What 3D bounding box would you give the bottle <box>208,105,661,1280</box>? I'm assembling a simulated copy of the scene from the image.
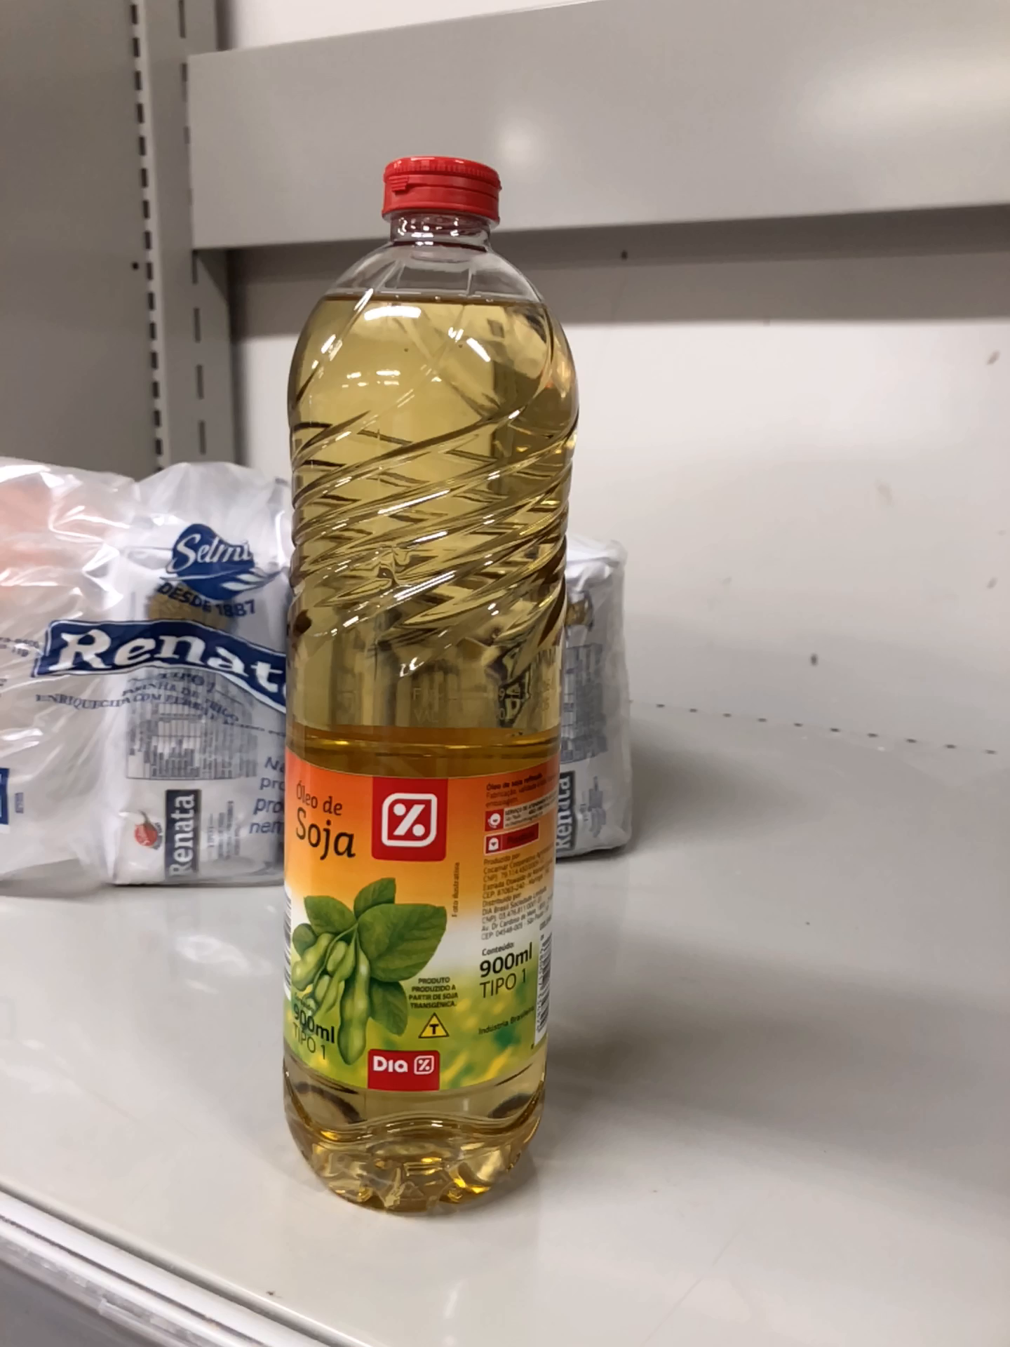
[{"bbox_3d":[-0.021,0.006,0.291,0.080,0.259,0.070,11,15,35],"label":"bottle"}]
